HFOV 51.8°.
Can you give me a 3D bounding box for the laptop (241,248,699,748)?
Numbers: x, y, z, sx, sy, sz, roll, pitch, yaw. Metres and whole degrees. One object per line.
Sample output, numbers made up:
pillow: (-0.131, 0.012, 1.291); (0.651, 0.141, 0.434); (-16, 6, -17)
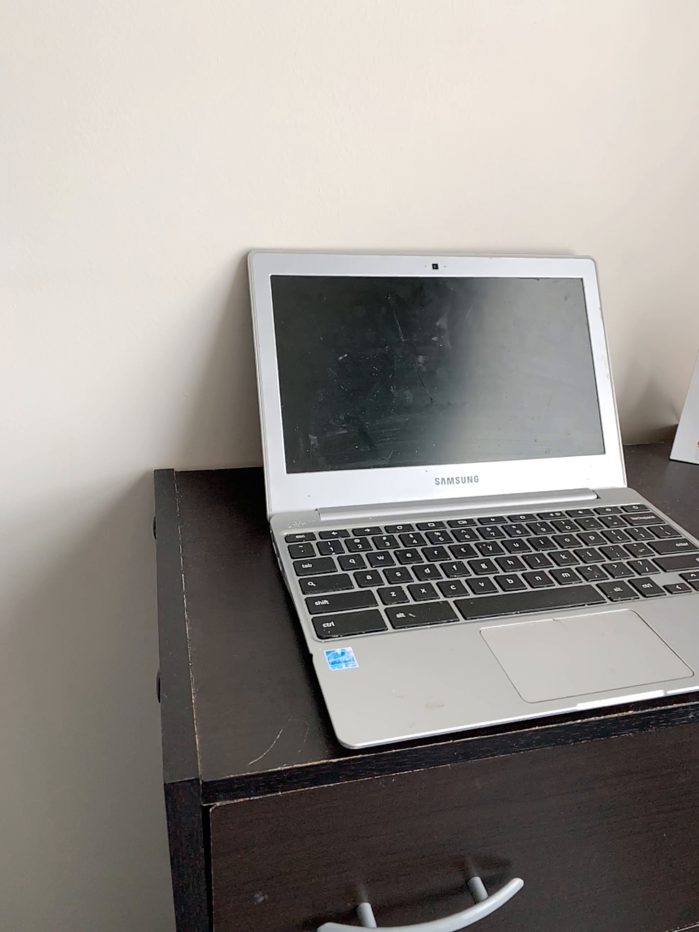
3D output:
laptop: (0.097, -0.027, 0.458); (0.291, 0.153, 0.318); (-4, 27, -16)
